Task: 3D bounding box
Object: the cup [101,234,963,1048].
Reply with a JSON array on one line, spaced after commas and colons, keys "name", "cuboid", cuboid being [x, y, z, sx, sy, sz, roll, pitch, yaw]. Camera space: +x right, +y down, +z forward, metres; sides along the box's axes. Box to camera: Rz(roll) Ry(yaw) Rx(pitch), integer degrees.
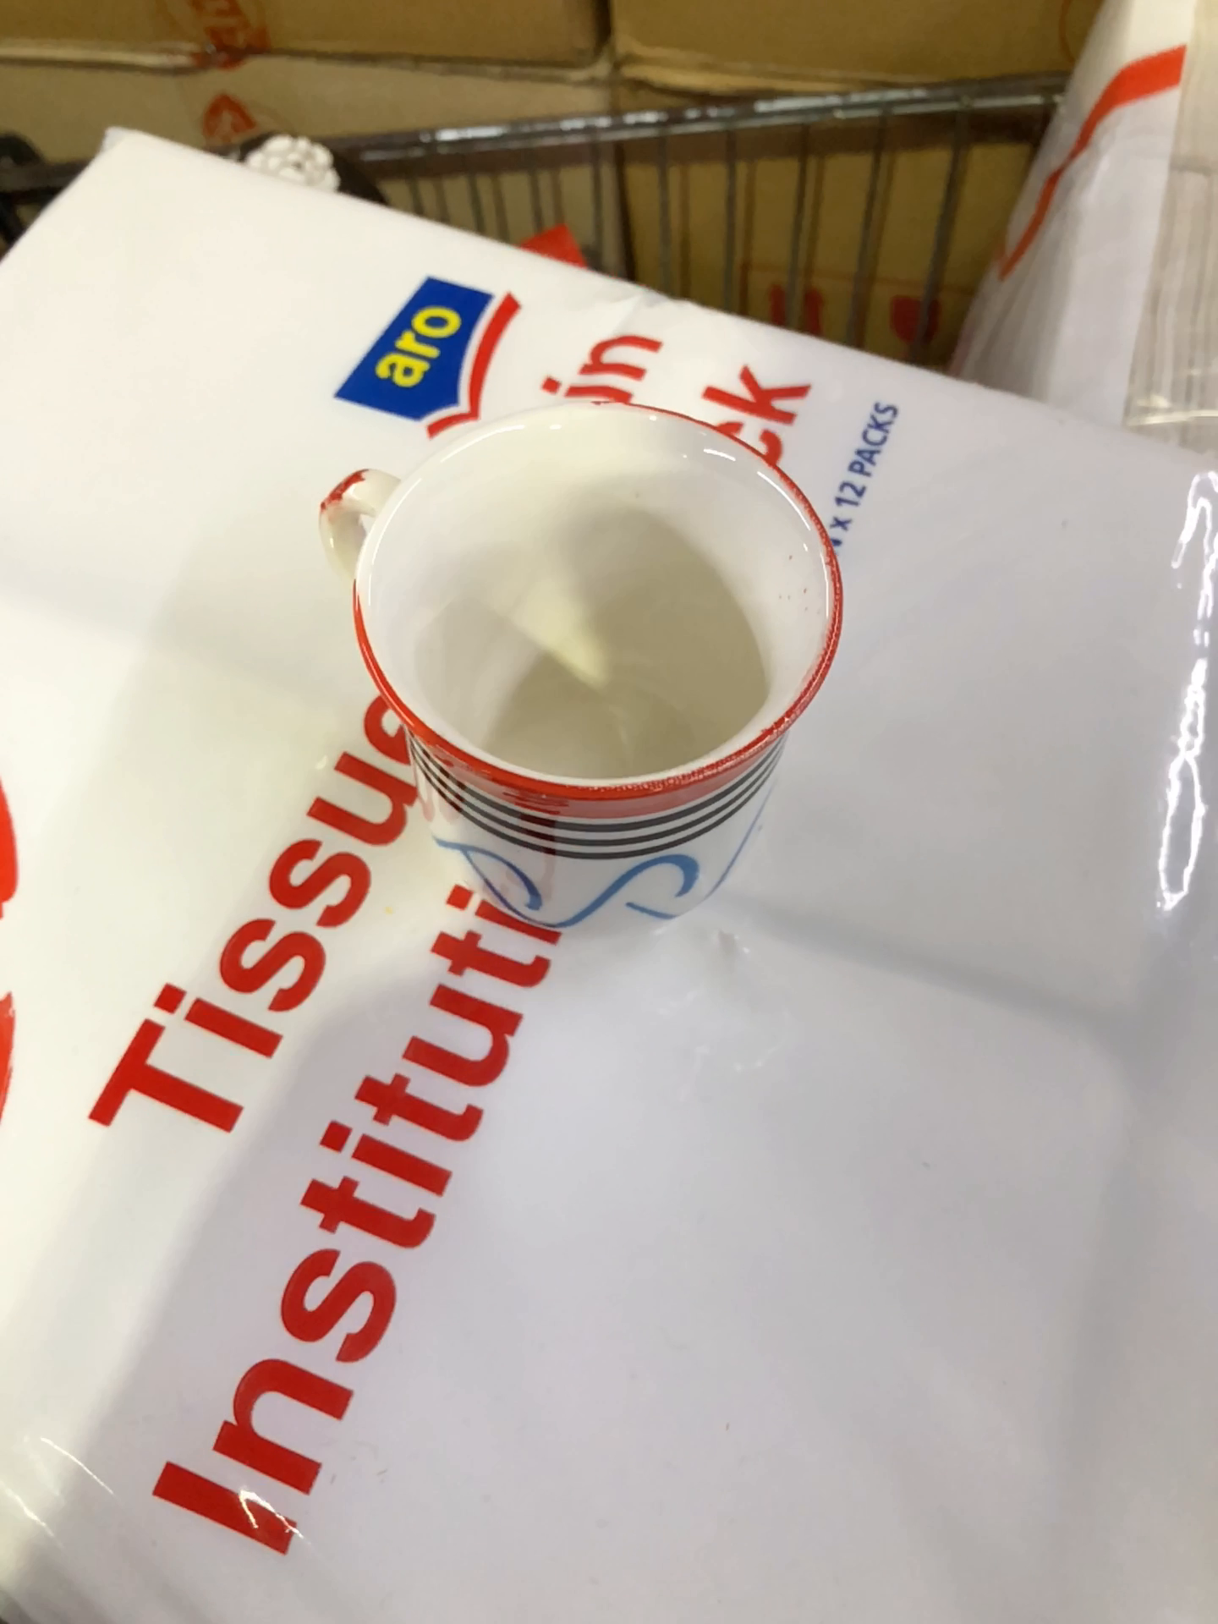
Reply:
[{"name": "cup", "cuboid": [-0.009, -0.025, 0.207, 0.090, 0.060, 0.070, 30, 68, 15]}]
